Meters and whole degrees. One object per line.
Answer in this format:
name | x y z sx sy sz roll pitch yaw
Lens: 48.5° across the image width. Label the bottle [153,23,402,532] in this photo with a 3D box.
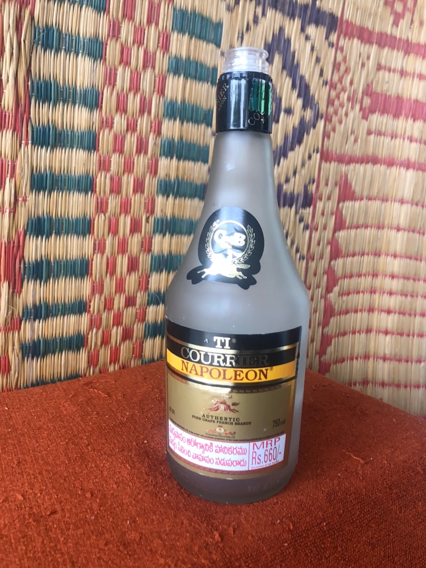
bottle | 0.035 -0.005 0.281 0.100 0.249 0.090 8 12 14
